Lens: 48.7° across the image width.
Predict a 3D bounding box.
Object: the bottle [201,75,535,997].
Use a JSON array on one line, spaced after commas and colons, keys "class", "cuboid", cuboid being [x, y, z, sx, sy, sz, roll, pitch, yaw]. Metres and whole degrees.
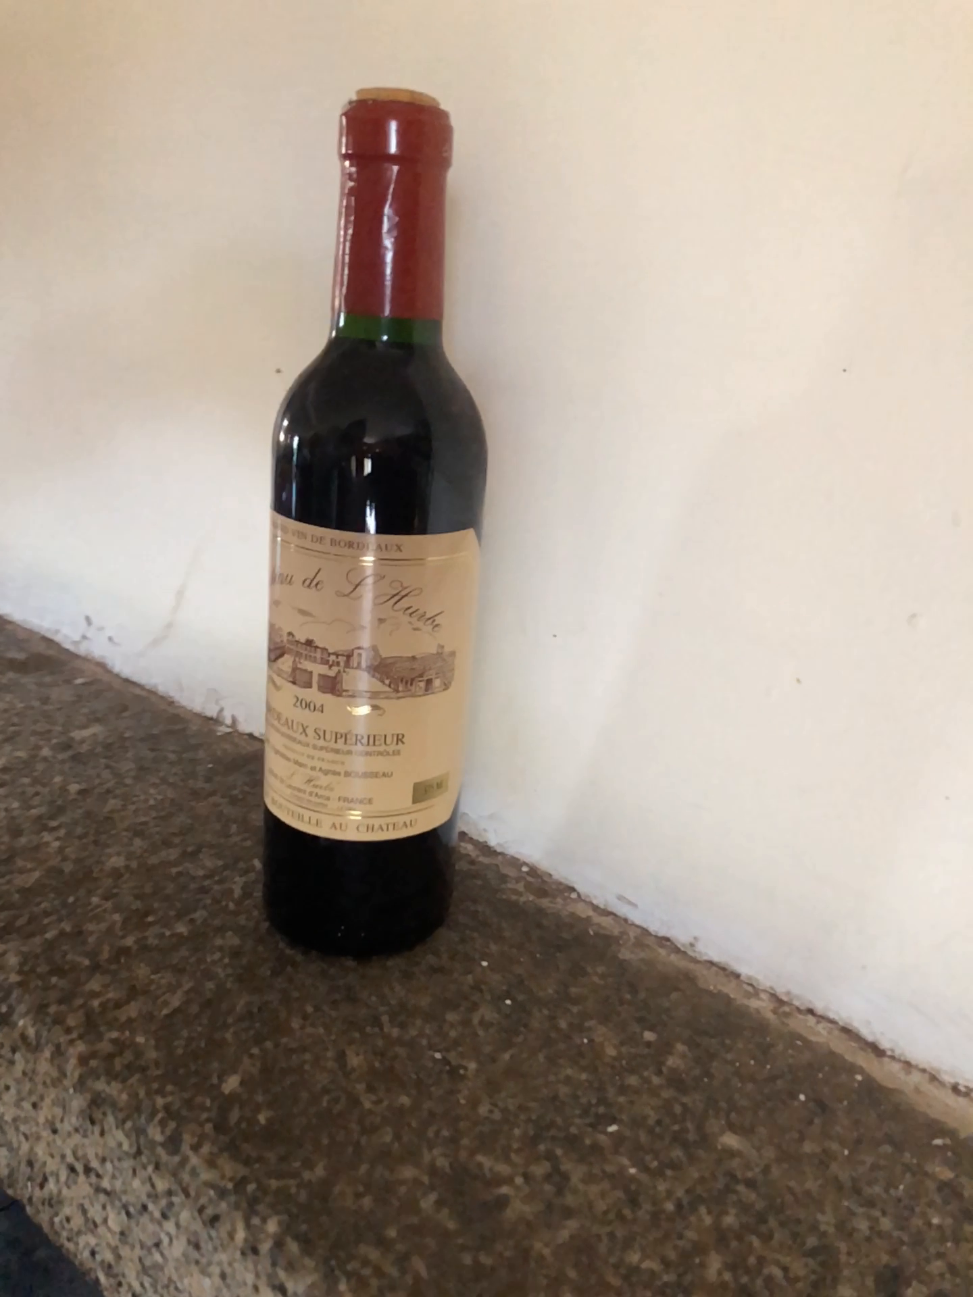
[{"class": "bottle", "cuboid": [-0.036, -0.026, 0.301, 0.060, 0.229, 0.060, 4, 17, -1]}]
